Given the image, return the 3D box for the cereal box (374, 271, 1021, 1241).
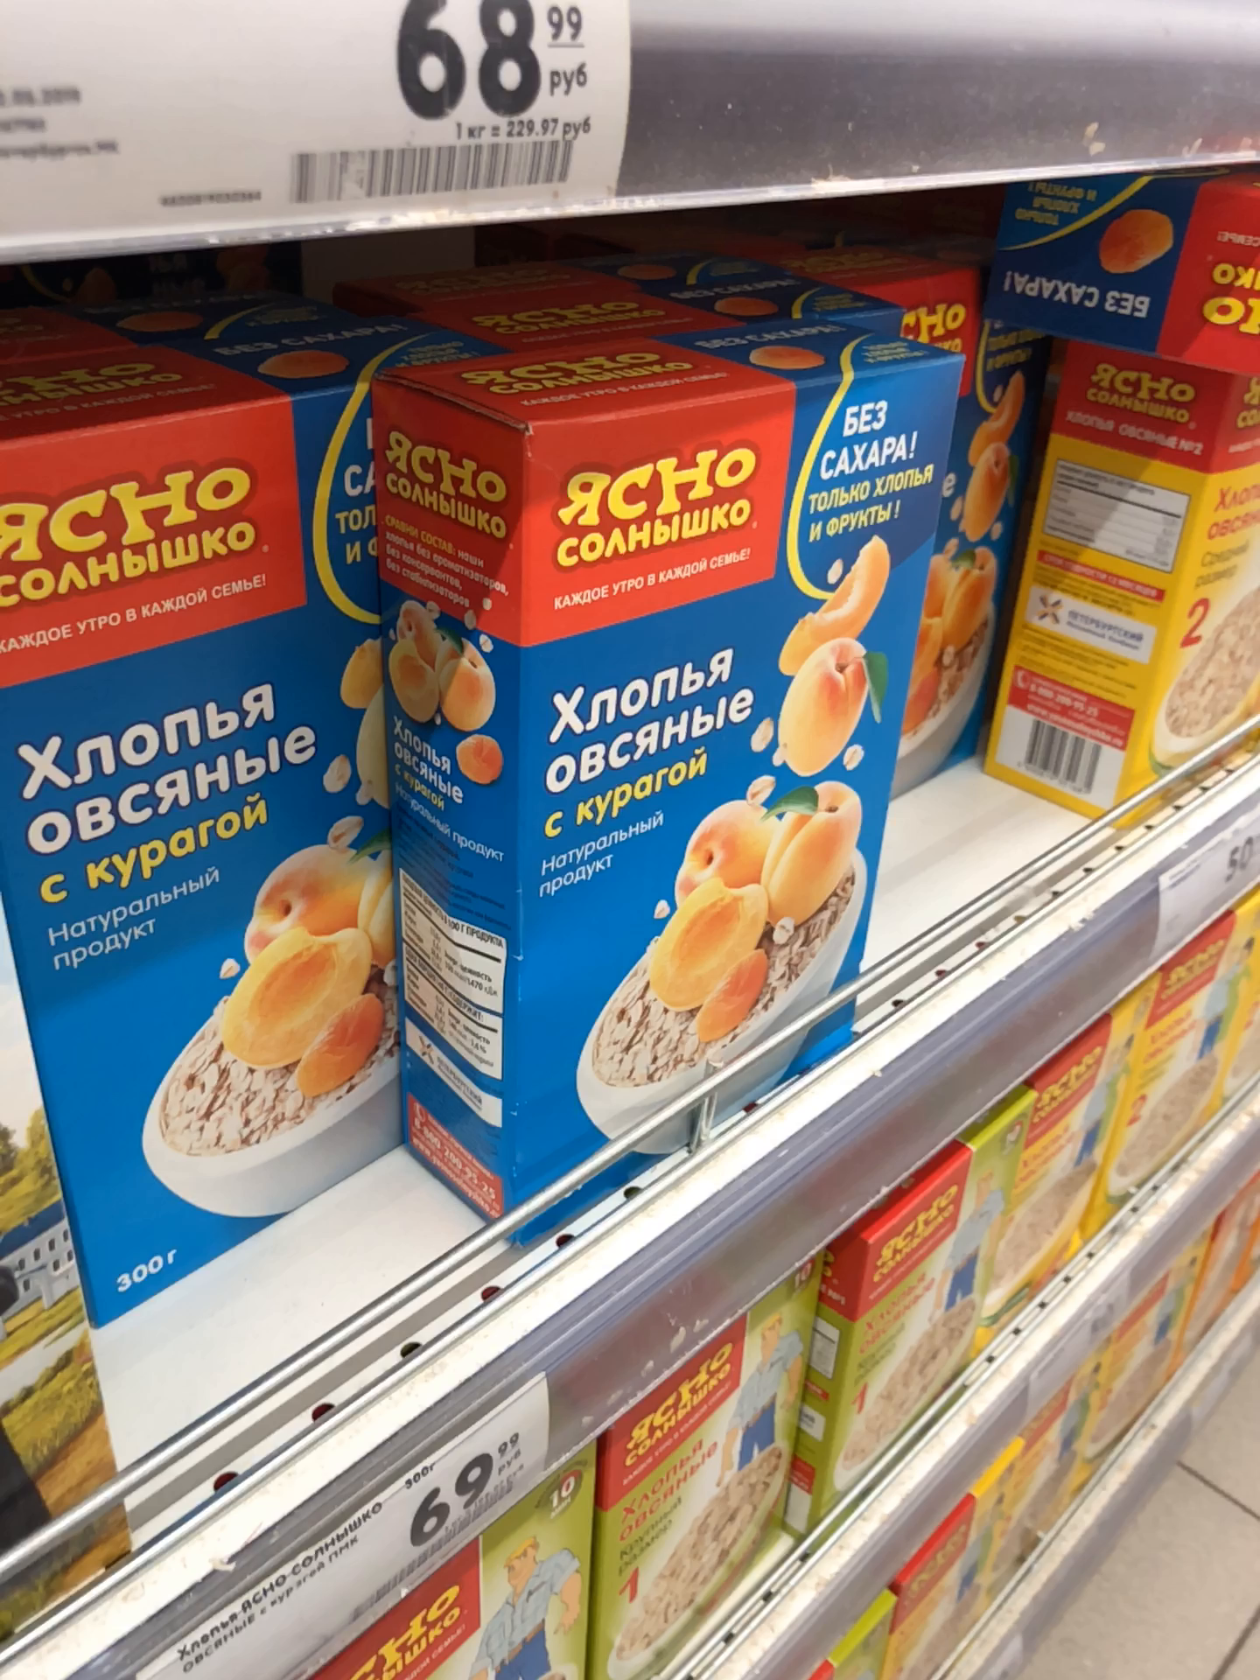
[{"bbox_3d":[0.017,-0.024,0.357,0.150,0.209,0.050,-23,39,-37],"label":"cereal box"}]
